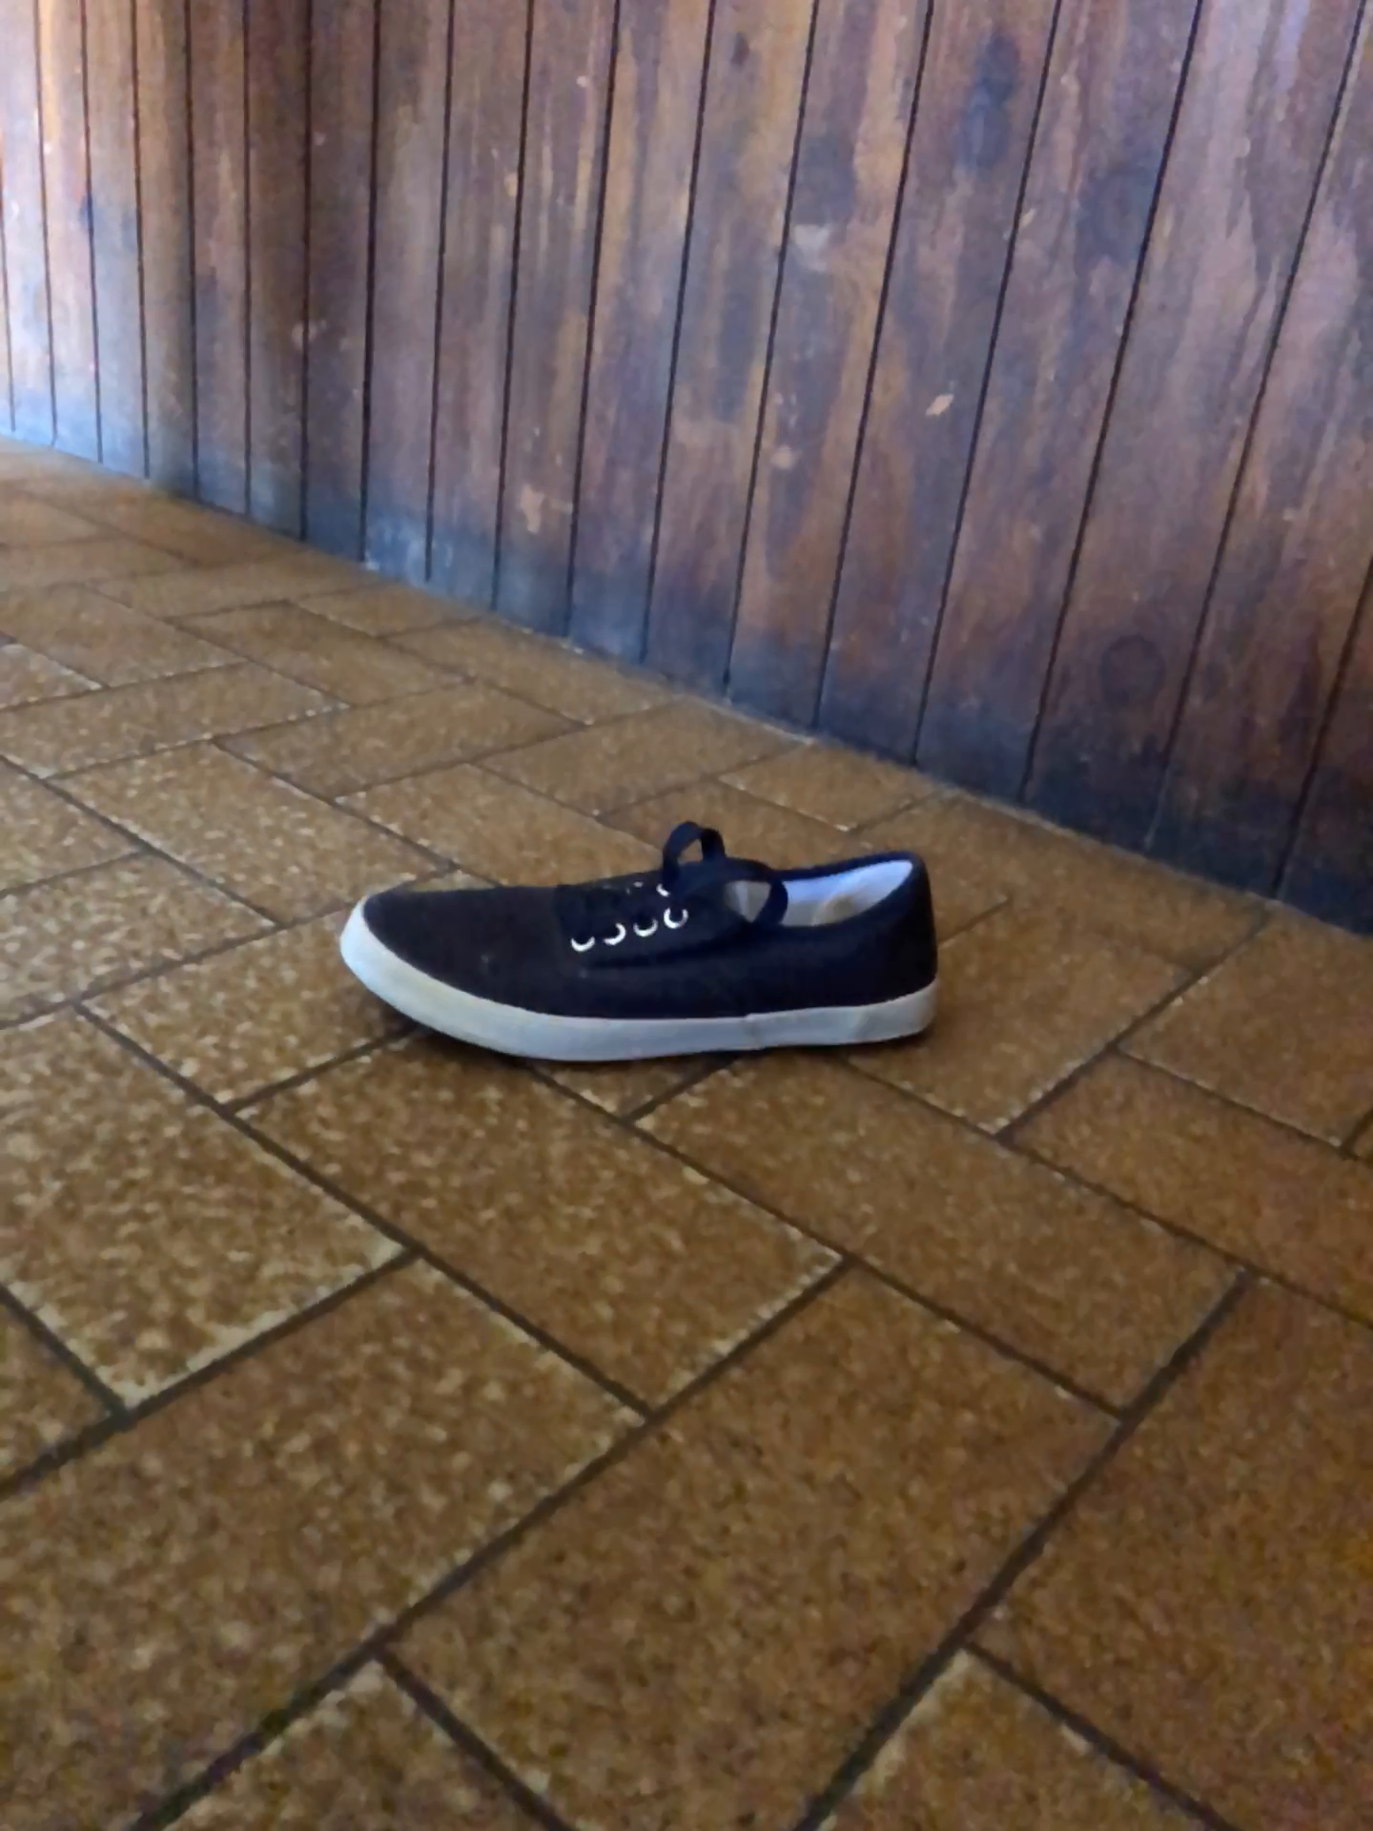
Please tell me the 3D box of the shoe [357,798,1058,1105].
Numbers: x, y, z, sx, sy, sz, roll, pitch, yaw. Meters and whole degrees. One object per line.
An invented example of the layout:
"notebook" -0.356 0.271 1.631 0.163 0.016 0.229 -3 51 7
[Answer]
"shoe" 0.001 0.010 0.563 0.240 0.070 0.100 0 27 -13
